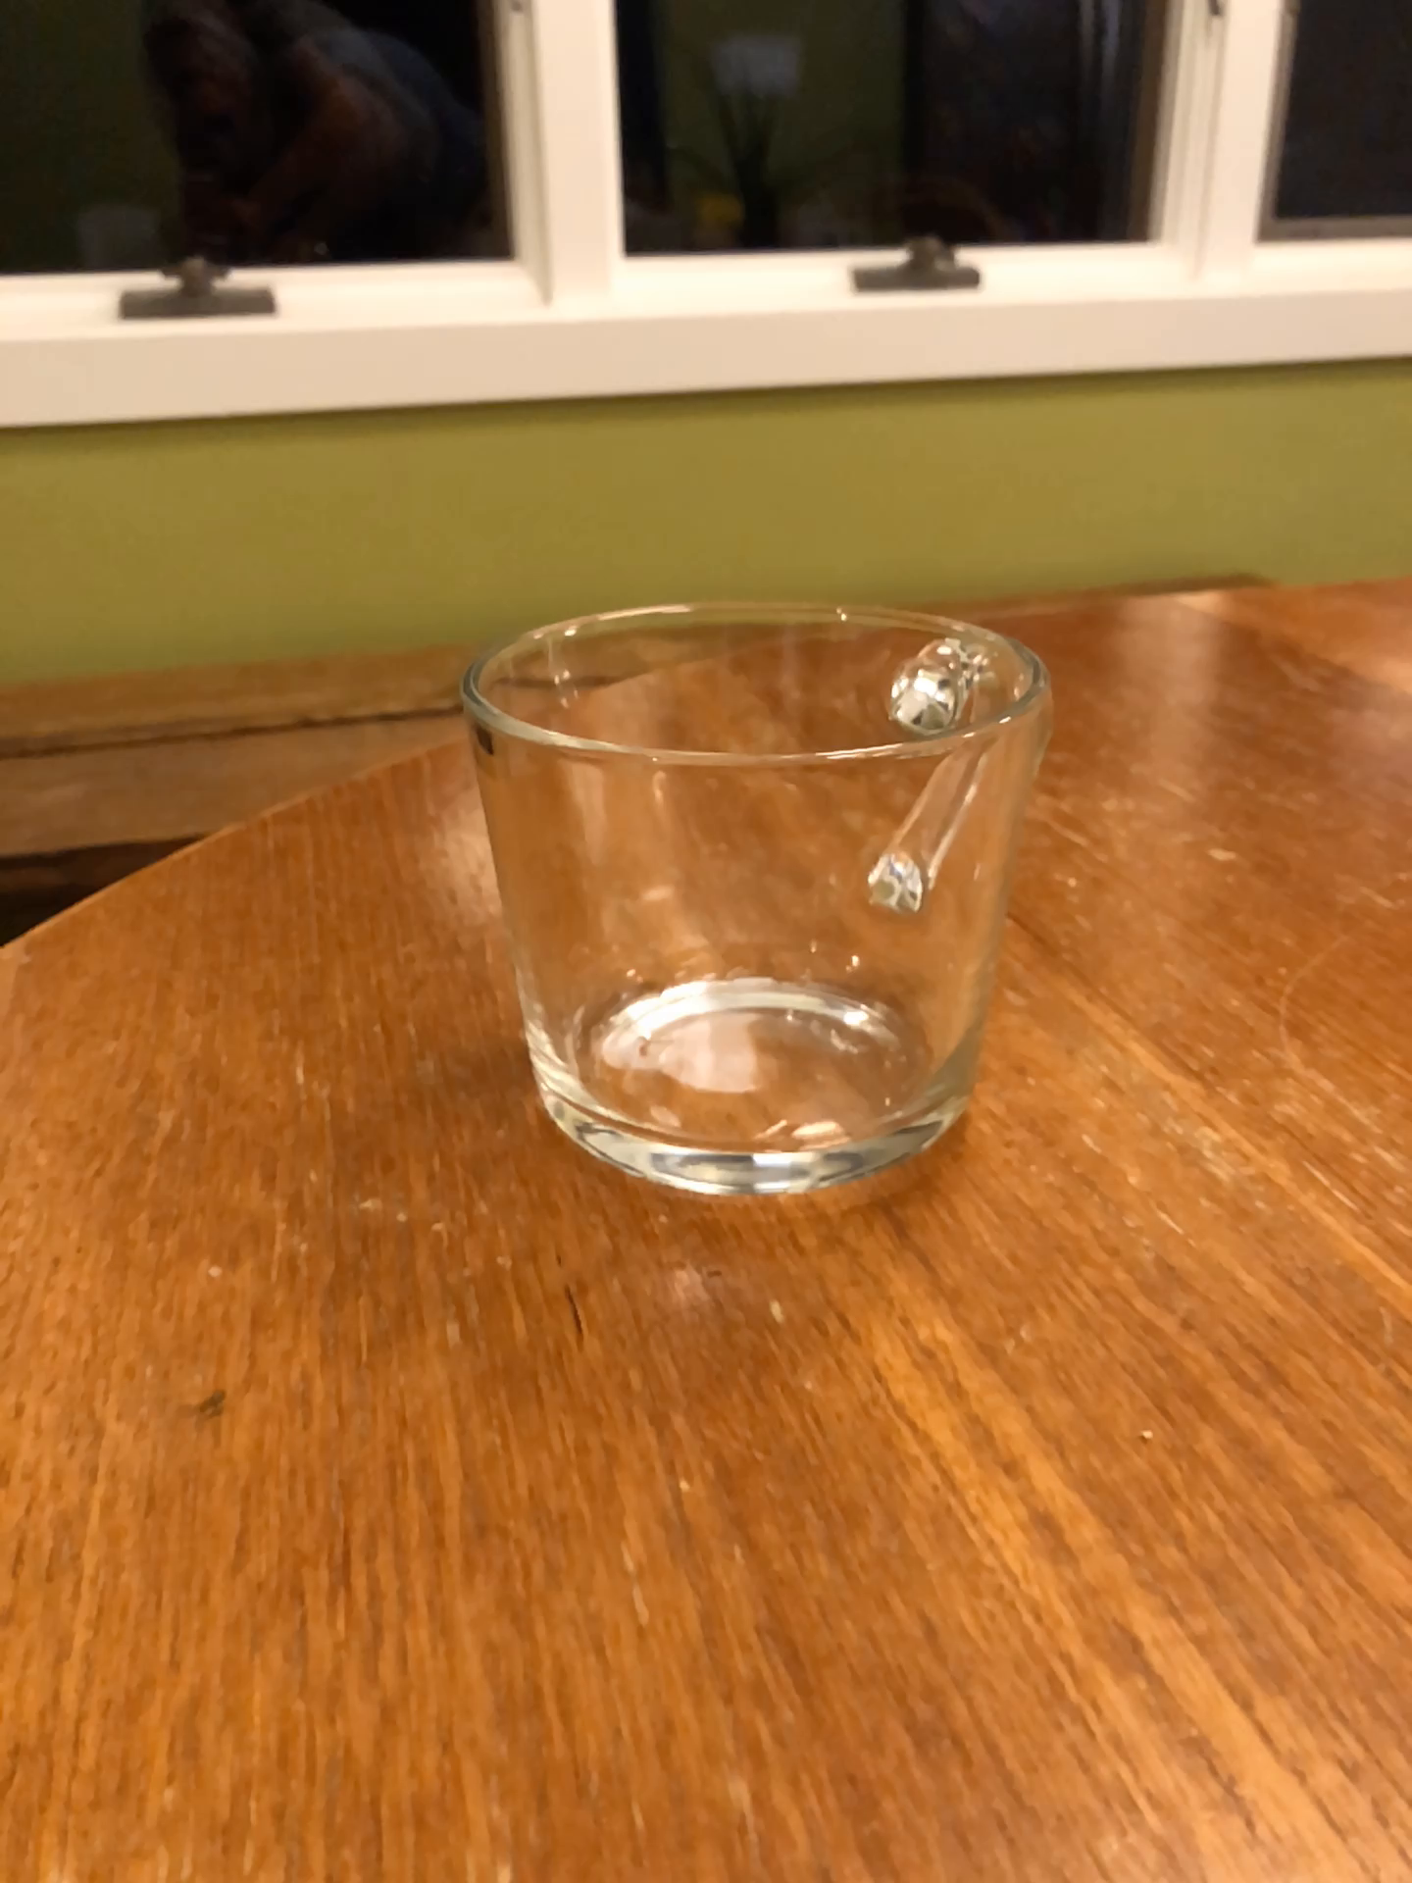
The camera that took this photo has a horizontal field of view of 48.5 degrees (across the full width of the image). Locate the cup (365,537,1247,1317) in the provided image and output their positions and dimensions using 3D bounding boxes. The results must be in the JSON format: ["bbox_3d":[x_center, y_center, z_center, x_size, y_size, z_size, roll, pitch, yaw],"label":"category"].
[{"bbox_3d":[0.020,-0.016,0.295,0.120,0.089,0.100,-22,32,-37],"label":"cup"}]
